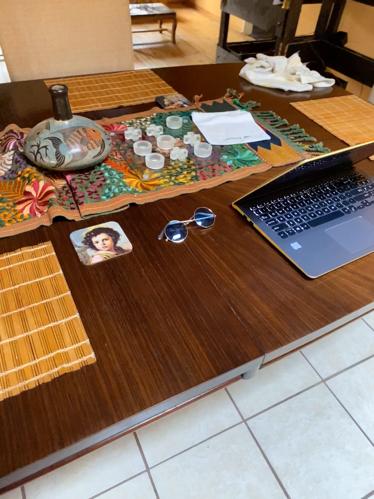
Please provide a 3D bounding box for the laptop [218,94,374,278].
[{"bbox_3d":[0.298,-0.151,0.775,0.377,0.181,0.251,-20,48,-24],"label":"laptop"}]
